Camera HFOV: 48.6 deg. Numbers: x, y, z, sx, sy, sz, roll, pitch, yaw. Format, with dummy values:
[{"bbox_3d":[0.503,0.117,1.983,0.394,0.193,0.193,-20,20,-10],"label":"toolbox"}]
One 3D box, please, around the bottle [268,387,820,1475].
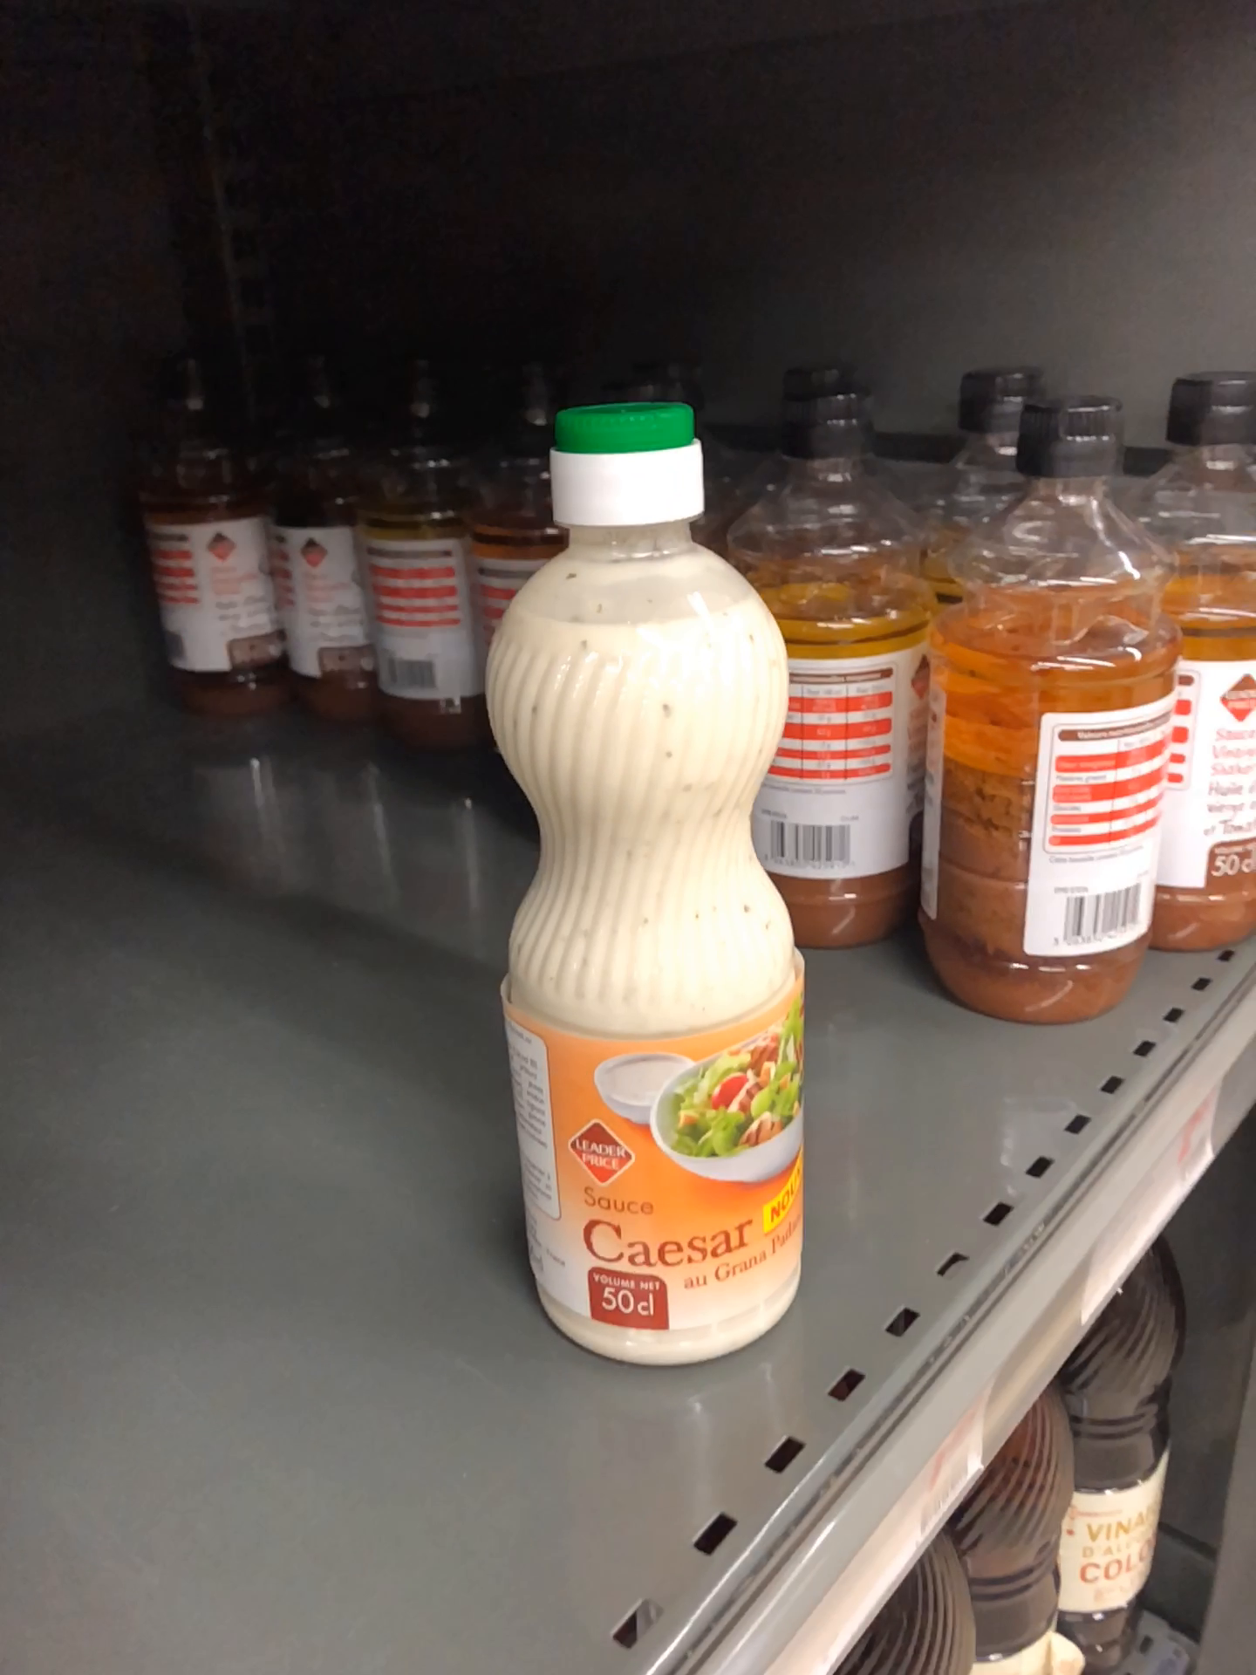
[{"bbox_3d":[-0.012,0.018,0.328,0.080,0.229,0.080,-2,22,1],"label":"bottle"}]
